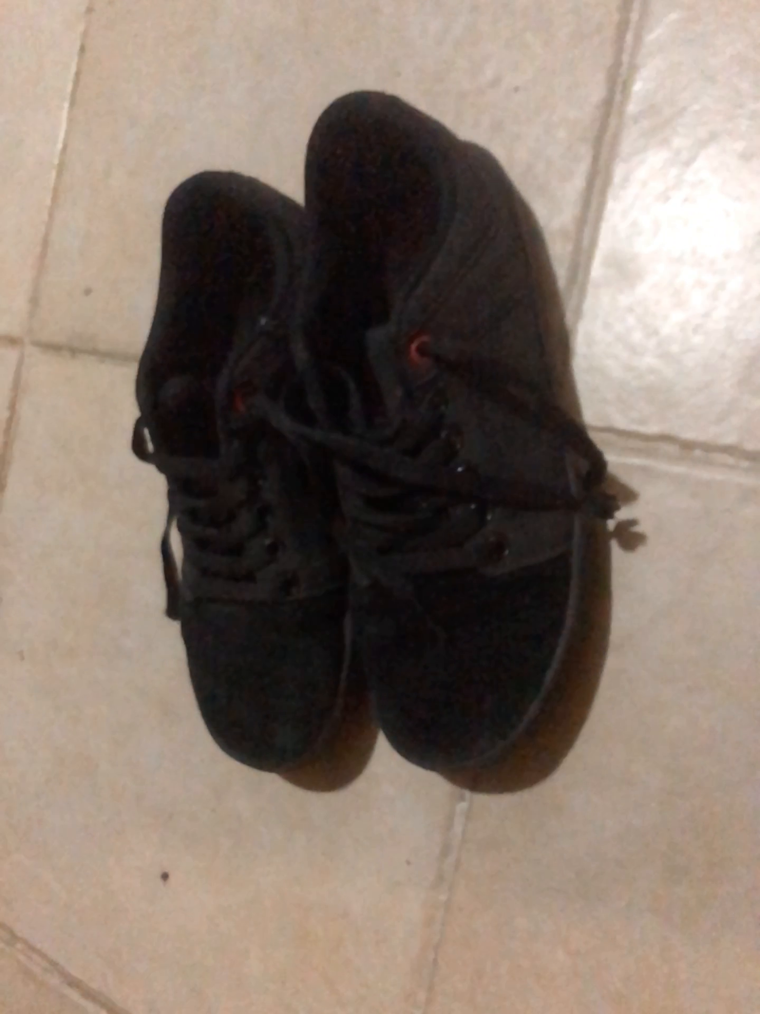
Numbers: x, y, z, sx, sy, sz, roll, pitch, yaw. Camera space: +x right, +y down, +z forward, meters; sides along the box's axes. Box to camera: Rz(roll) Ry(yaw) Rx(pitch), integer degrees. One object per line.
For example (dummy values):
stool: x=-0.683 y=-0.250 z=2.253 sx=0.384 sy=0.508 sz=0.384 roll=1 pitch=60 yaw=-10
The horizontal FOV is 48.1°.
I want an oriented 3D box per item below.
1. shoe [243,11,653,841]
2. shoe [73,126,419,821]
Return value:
shoe: x=0.026 y=-0.021 z=0.309 sx=0.100 sy=0.100 sz=0.240 roll=-7 pitch=83 yaw=28
shoe: x=-0.052 y=-0.010 z=0.360 sx=0.100 sy=0.100 sz=0.240 roll=-3 pitch=84 yaw=28
